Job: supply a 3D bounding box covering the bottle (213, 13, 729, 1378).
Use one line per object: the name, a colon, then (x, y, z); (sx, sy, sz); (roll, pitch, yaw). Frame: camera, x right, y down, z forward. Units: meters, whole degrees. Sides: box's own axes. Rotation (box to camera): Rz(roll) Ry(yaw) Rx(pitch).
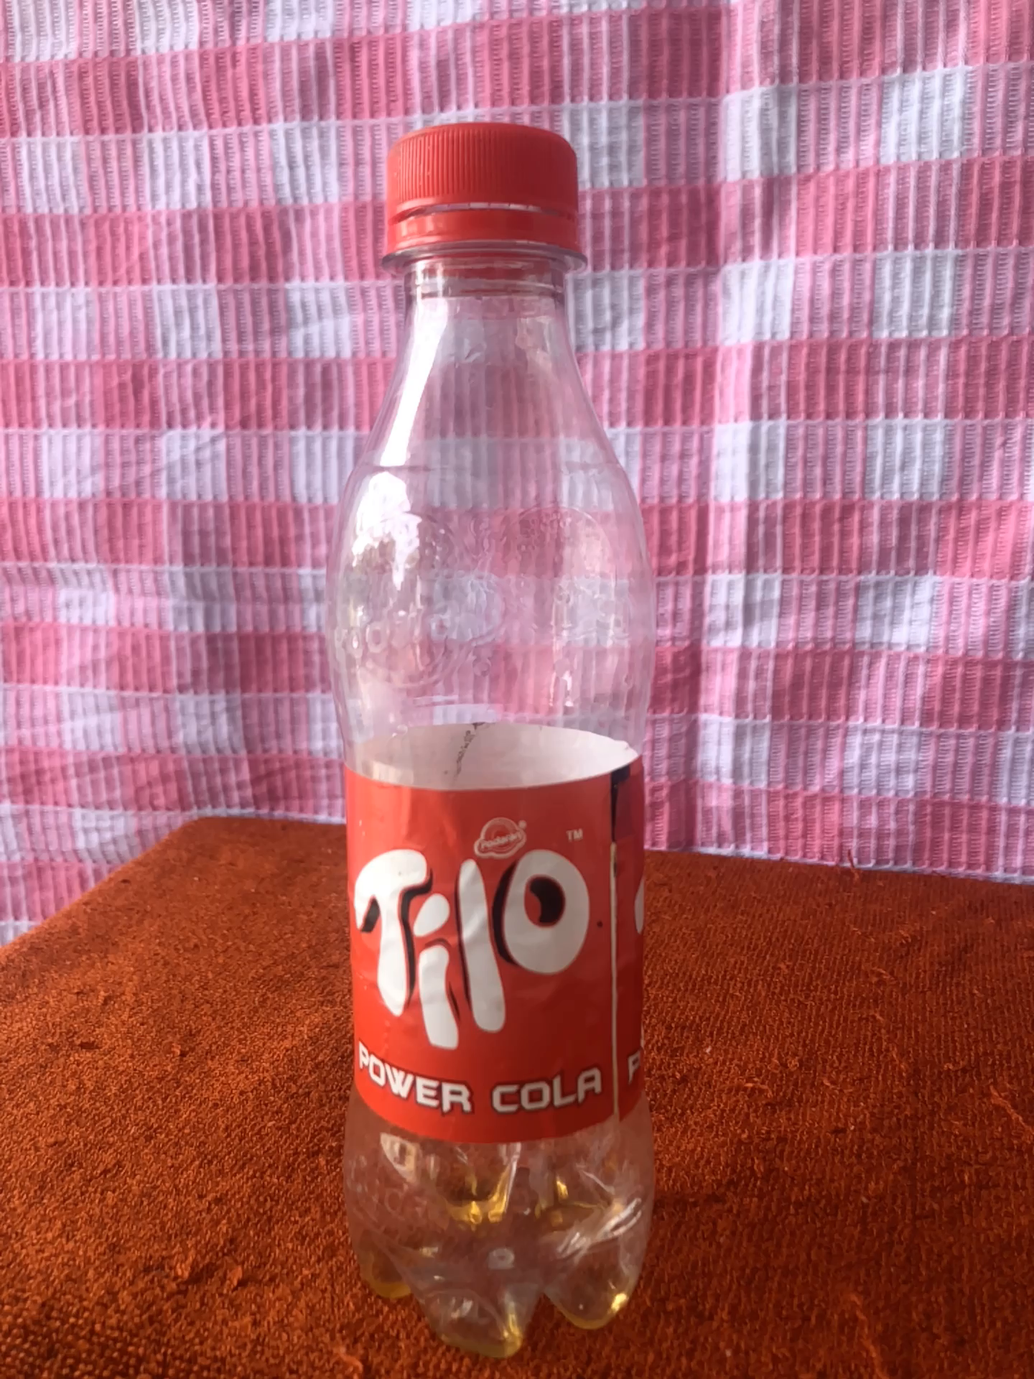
bottle: (-0.002, 0.007, 0.185); (0.060, 0.189, 0.060); (1, 15, 0)
